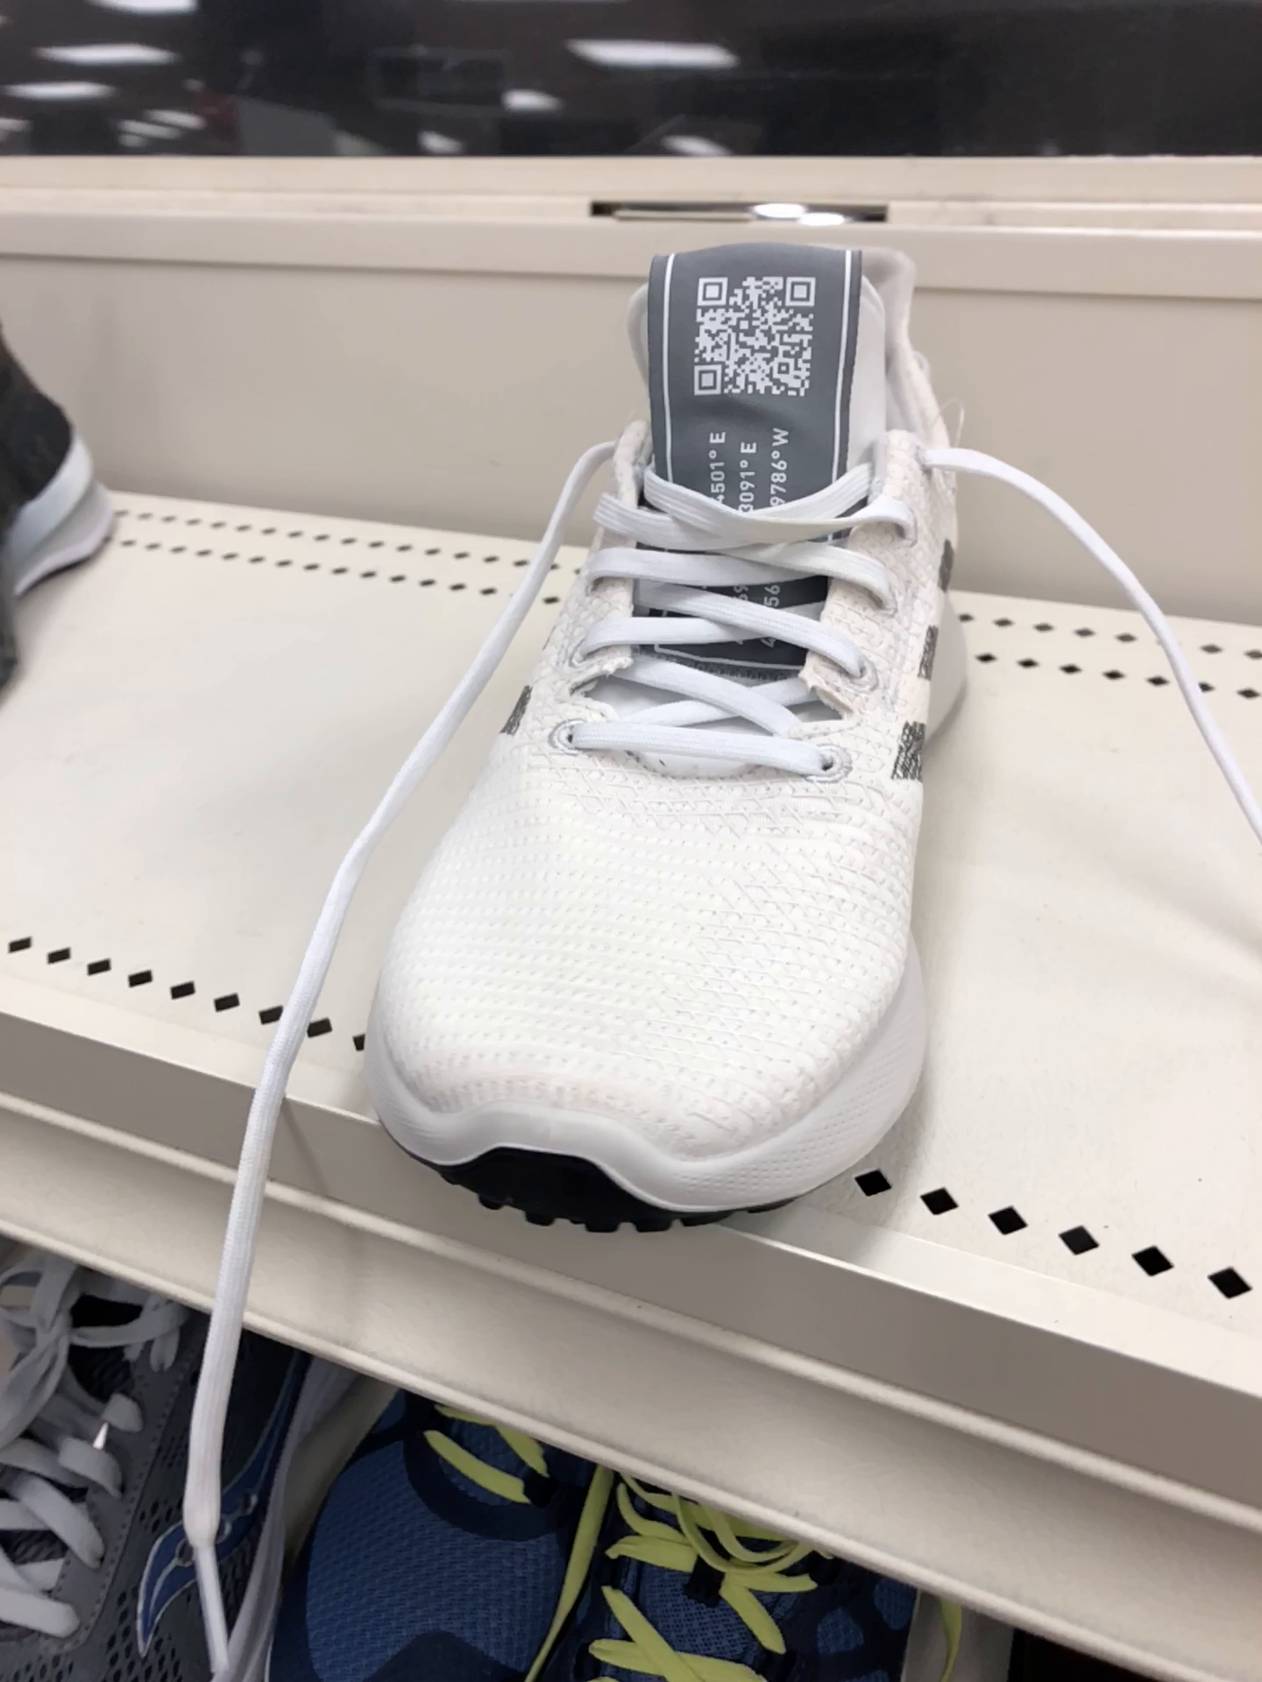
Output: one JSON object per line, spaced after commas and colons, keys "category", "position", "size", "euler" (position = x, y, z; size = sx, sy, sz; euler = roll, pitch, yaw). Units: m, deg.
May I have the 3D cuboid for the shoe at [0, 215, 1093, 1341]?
{"category": "shoe", "position": [0.033, -0.078, 0.349], "size": [0.128, 0.139, 0.383], "euler": [8, 25, 16]}
